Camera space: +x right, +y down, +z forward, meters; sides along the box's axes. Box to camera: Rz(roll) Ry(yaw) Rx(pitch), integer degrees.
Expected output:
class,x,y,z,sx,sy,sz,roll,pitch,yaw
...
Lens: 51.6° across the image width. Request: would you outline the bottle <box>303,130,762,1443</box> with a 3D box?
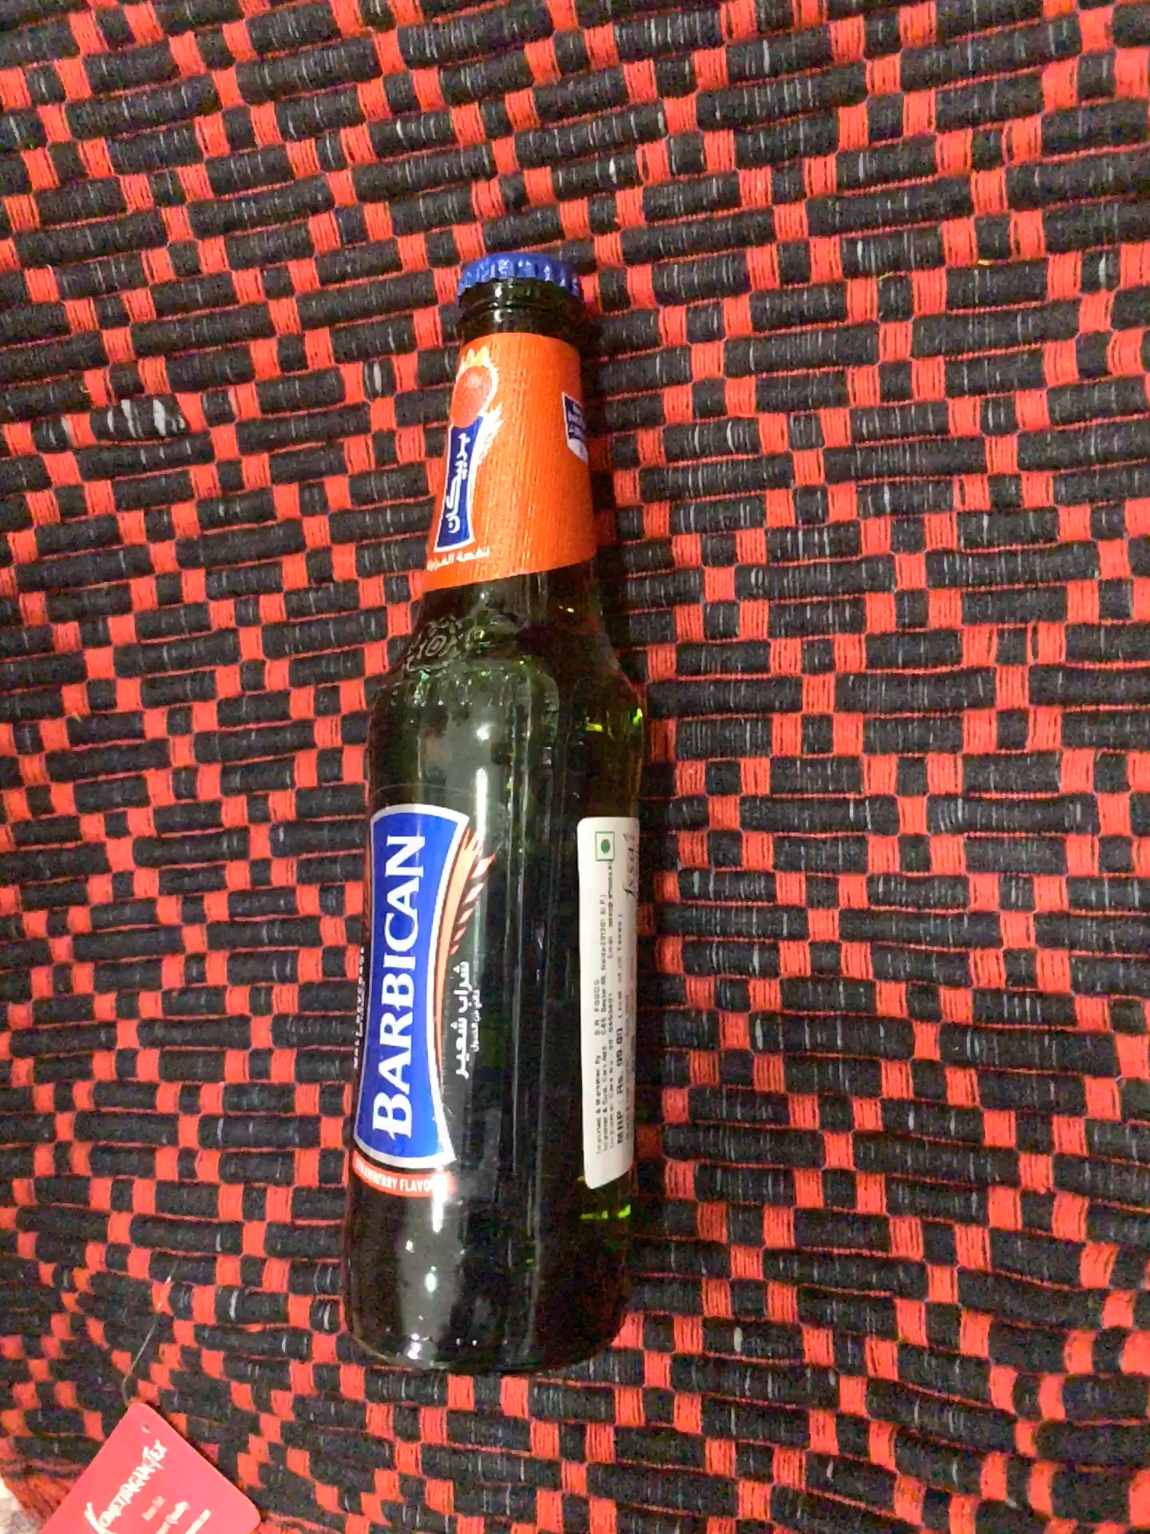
class,x,y,z,sx,sy,sz,roll,pitch,yaw
bottle,-0.006,0.002,0.244,0.060,0.070,0.220,-4,83,34
